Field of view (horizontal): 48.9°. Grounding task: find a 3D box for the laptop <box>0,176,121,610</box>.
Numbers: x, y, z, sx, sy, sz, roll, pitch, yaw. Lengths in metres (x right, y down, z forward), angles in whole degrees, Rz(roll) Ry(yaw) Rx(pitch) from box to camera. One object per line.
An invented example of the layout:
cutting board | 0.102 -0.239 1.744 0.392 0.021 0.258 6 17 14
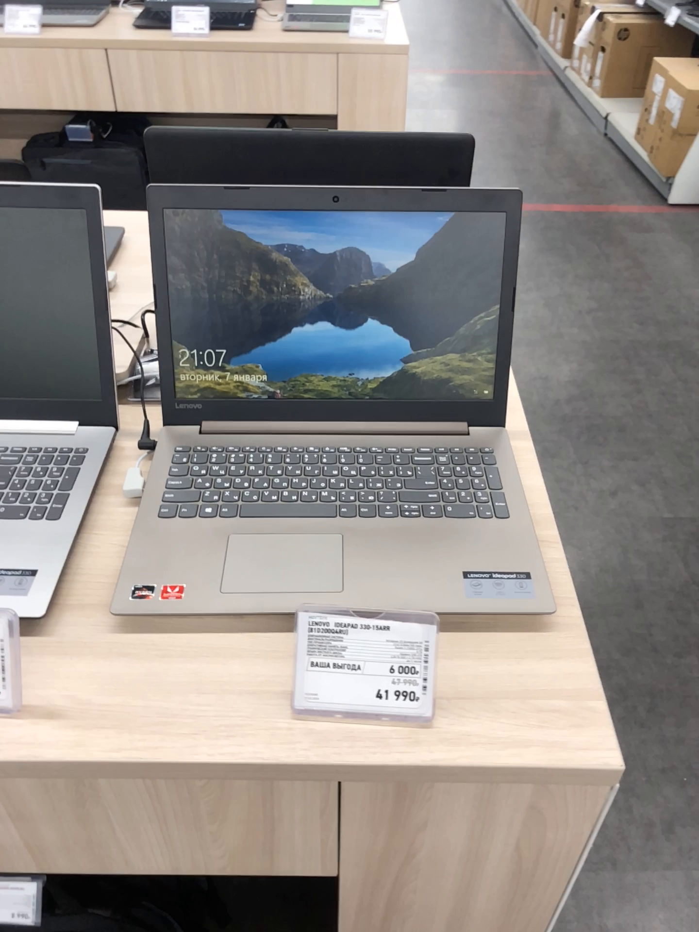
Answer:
laptop | -0.414 -0.077 0.657 0.342 0.207 0.324 1 40 -2

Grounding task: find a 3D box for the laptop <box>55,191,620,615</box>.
laptop | -0.008 -0.071 0.668 0.350 0.209 0.330 0 41 0
